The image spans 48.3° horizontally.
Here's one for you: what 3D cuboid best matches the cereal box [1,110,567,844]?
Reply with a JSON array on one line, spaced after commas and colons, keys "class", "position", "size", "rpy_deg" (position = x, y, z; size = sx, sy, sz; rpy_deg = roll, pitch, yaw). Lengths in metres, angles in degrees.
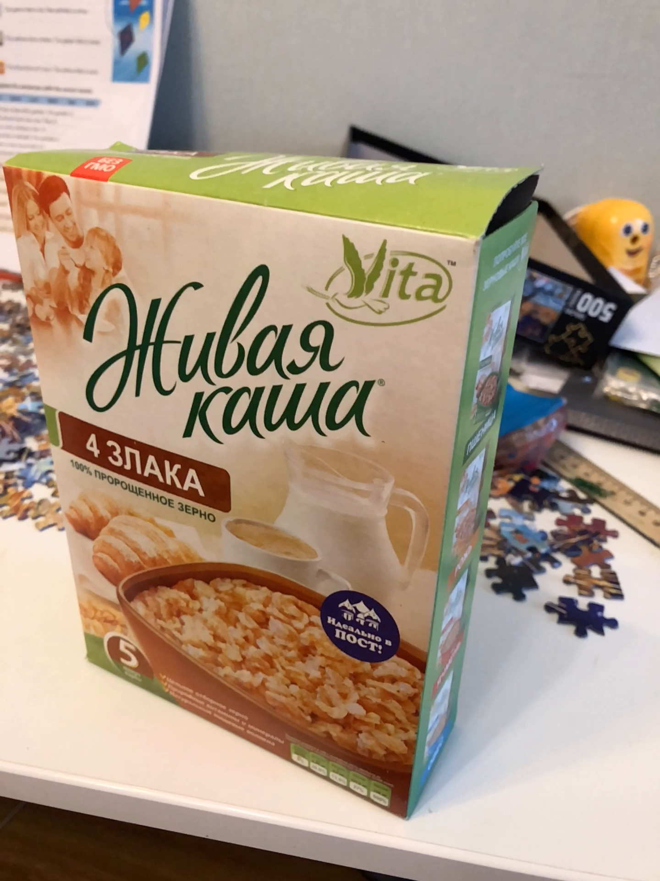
[{"class": "cereal box", "position": [-0.019, 0.014, 0.240], "size": [0.140, 0.209, 0.050], "rpy_deg": [16, 32, 24]}]
